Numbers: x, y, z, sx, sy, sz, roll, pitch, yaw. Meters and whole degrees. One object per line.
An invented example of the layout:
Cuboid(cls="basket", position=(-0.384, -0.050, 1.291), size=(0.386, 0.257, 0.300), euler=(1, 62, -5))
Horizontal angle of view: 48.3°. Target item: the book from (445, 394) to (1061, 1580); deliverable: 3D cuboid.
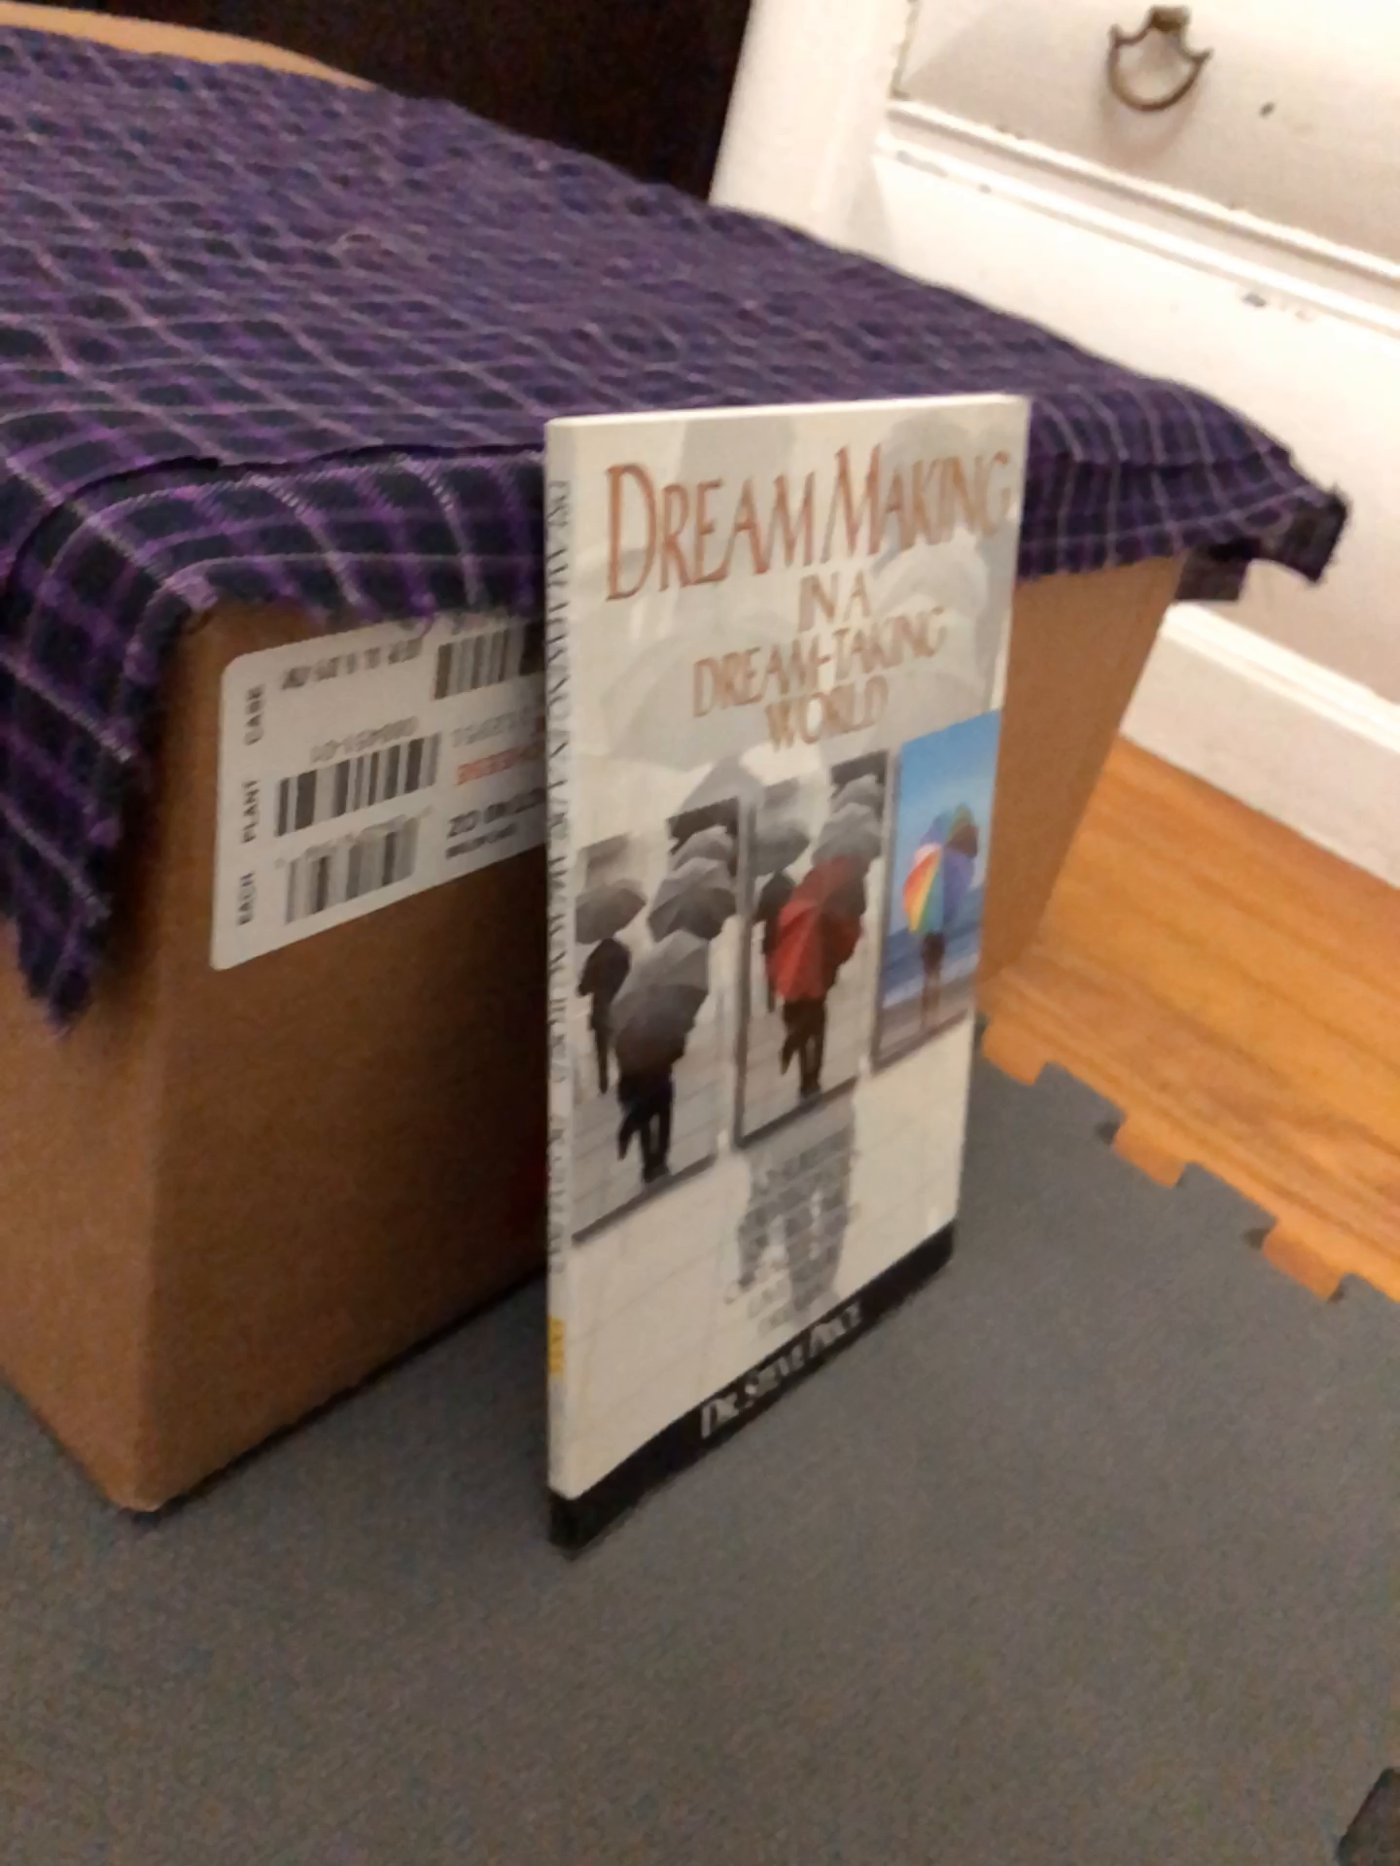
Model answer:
Cuboid(cls="book", position=(0.017, 0.005, 0.330), size=(0.020, 0.219, 0.151), euler=(20, 29, 38))
